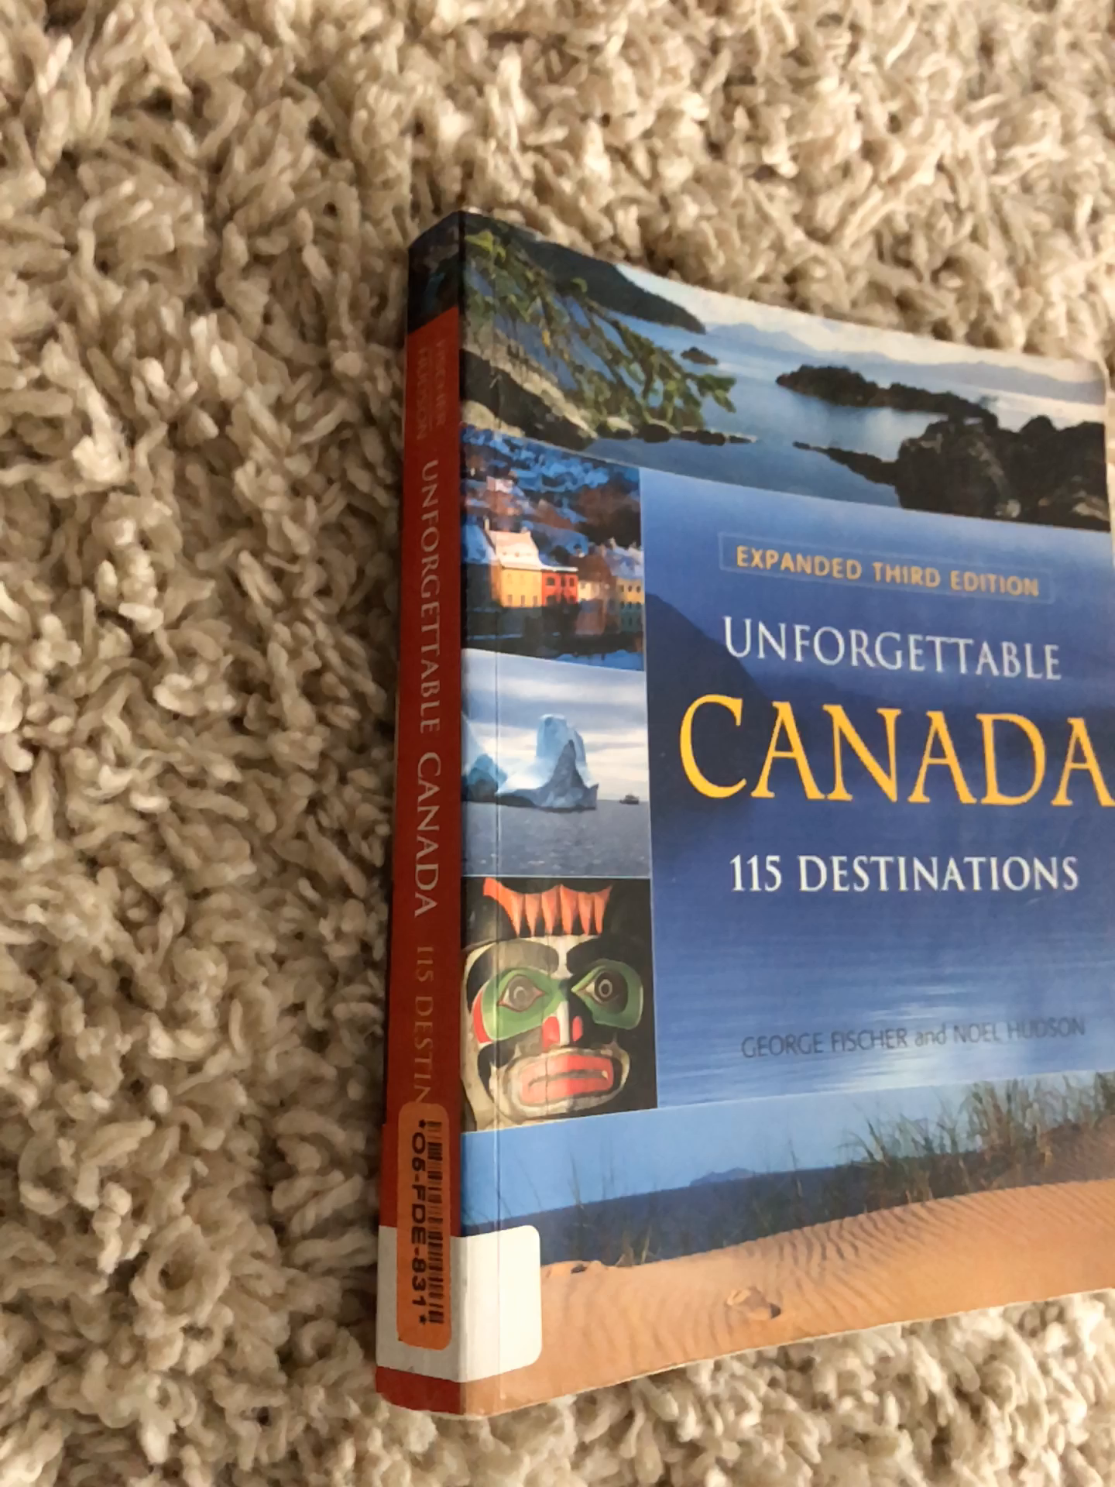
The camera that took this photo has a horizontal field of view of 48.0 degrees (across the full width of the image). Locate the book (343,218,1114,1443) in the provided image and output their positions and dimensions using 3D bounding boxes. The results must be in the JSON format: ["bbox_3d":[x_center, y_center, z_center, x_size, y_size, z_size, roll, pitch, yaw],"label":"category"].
[{"bbox_3d":[0.055,0.017,0.298,0.201,0.040,0.234,4,81,-24],"label":"book"}]
